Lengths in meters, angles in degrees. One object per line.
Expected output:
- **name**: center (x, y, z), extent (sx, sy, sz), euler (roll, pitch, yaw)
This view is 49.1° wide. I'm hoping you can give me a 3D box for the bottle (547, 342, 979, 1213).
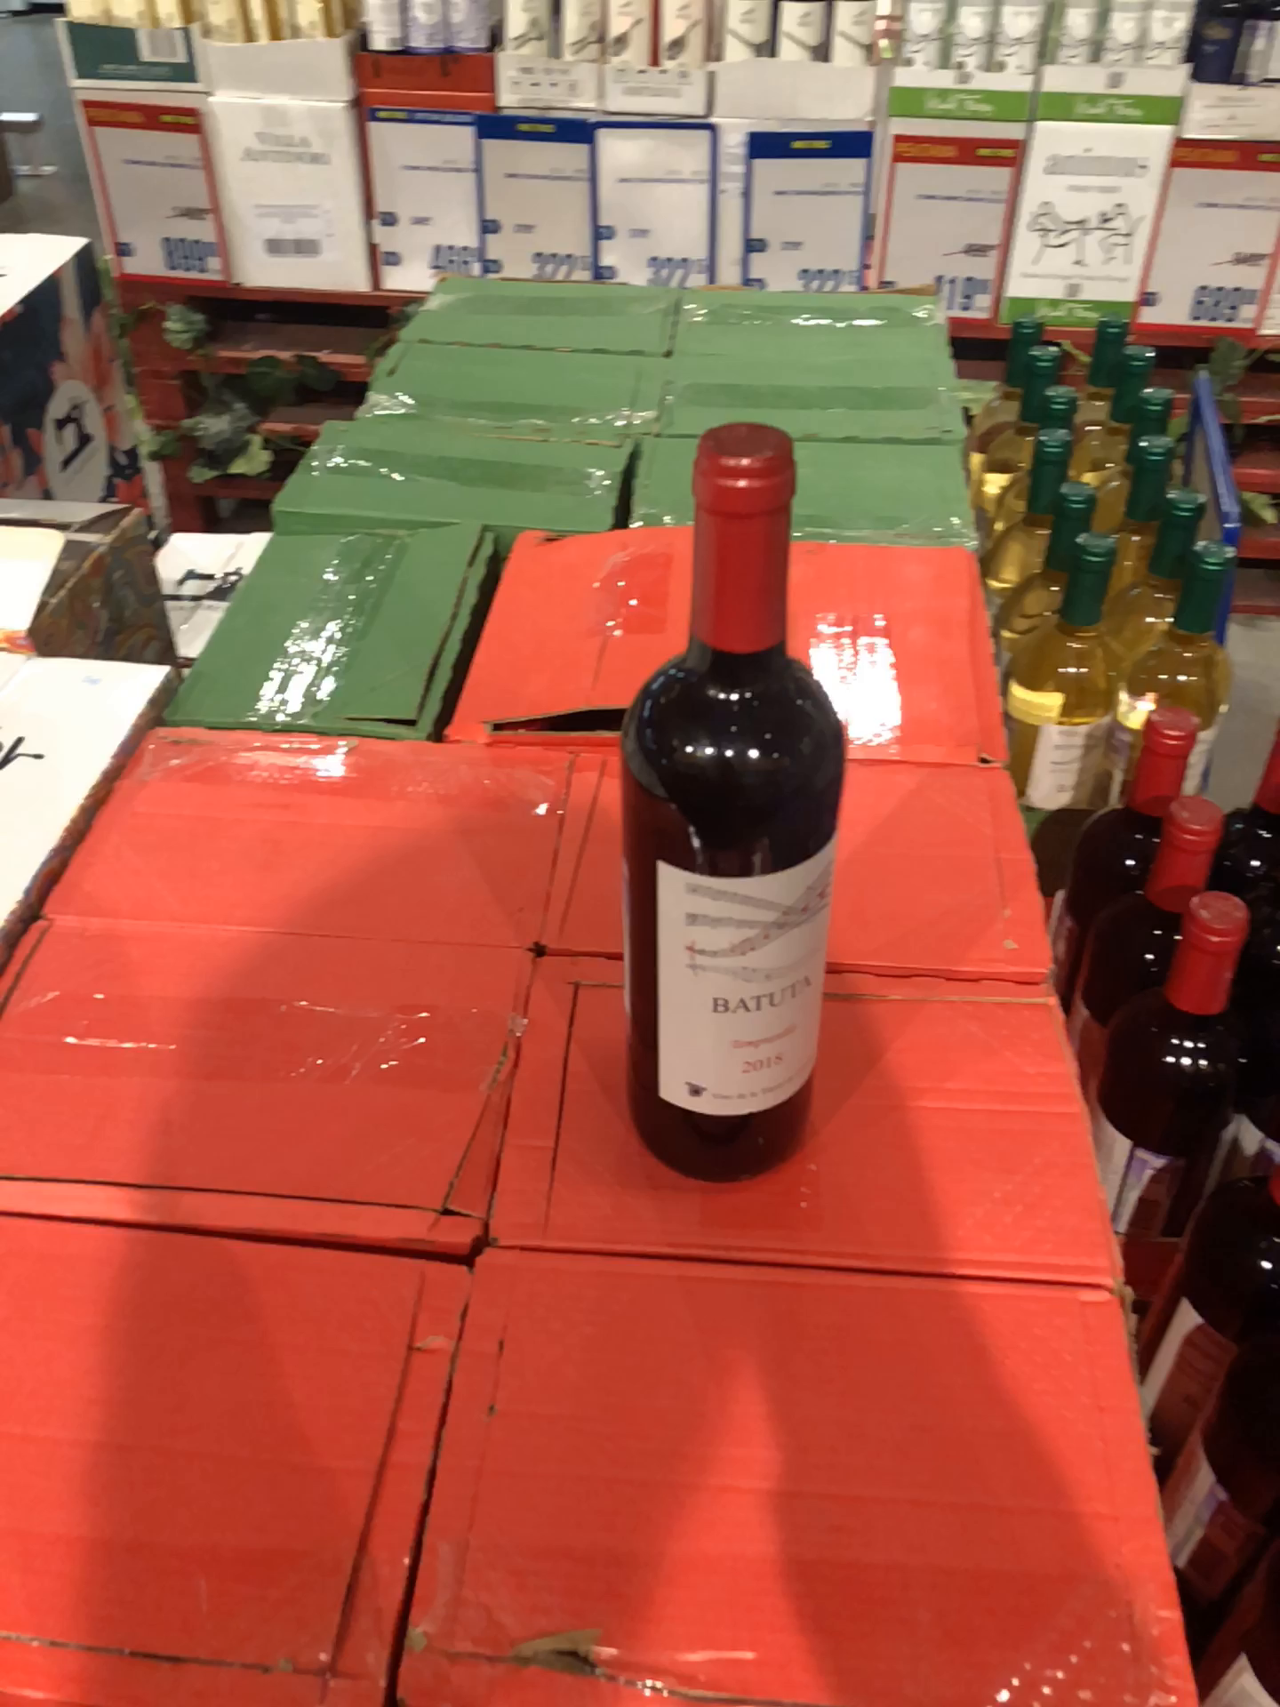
- **bottle**: center (0.032, -0.010, 0.478), extent (0.090, 0.287, 0.080), euler (-18, 44, -20)
